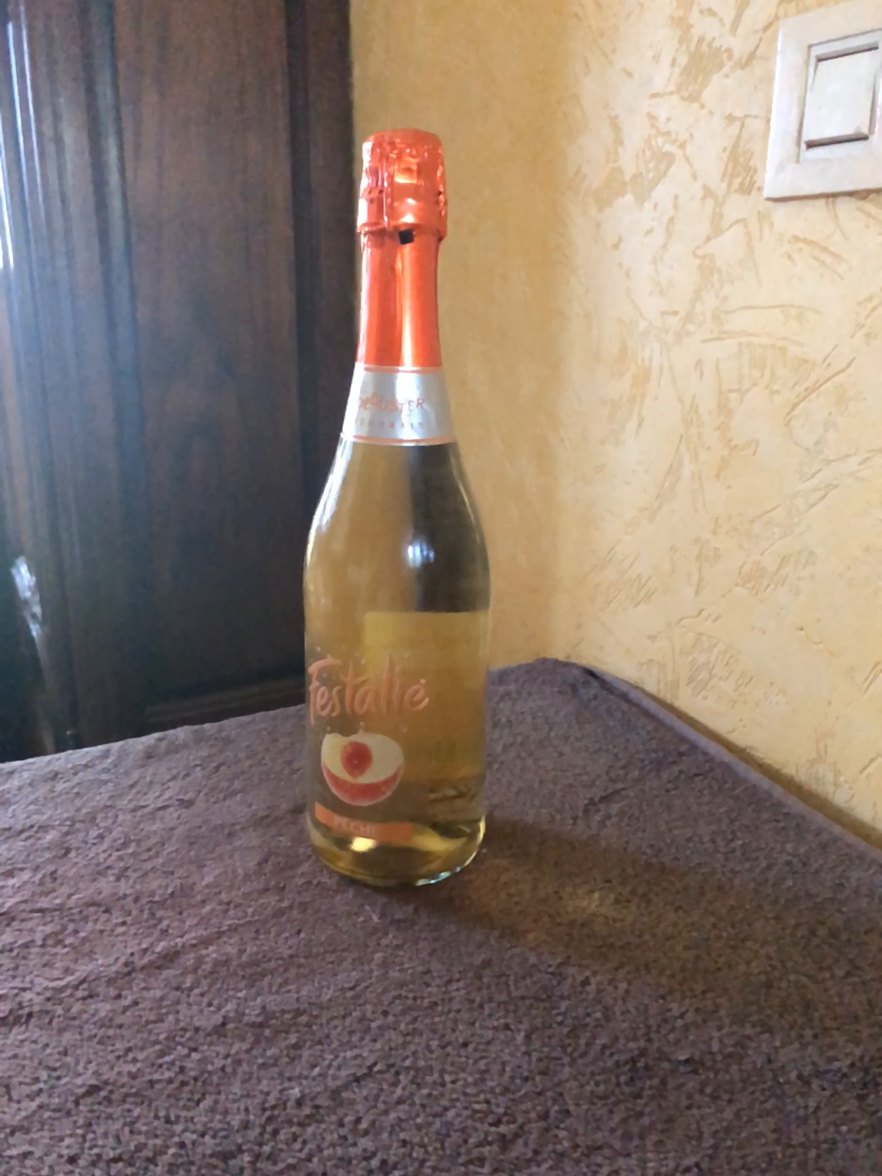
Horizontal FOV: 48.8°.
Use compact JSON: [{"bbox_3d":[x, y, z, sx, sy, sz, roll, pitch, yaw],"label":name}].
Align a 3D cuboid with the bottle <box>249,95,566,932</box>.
[{"bbox_3d":[-0.010,-0.026,0.409,0.090,0.309,0.090,1,16,0],"label":"bottle"}]
